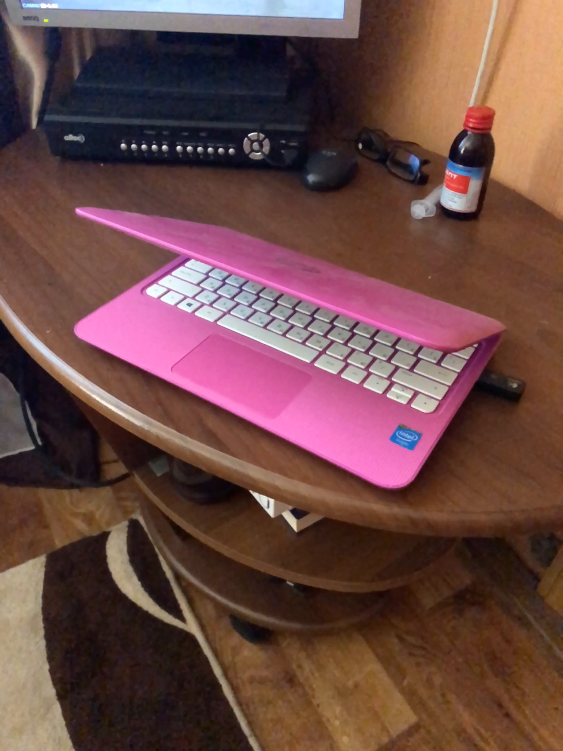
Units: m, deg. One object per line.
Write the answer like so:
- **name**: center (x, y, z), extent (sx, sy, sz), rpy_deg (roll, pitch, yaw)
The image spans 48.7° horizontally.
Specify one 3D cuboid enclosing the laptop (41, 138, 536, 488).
- **laptop**: center (0.007, -0.068, 0.430), extent (0.264, 0.081, 0.187), rpy_deg (24, 46, 24)
